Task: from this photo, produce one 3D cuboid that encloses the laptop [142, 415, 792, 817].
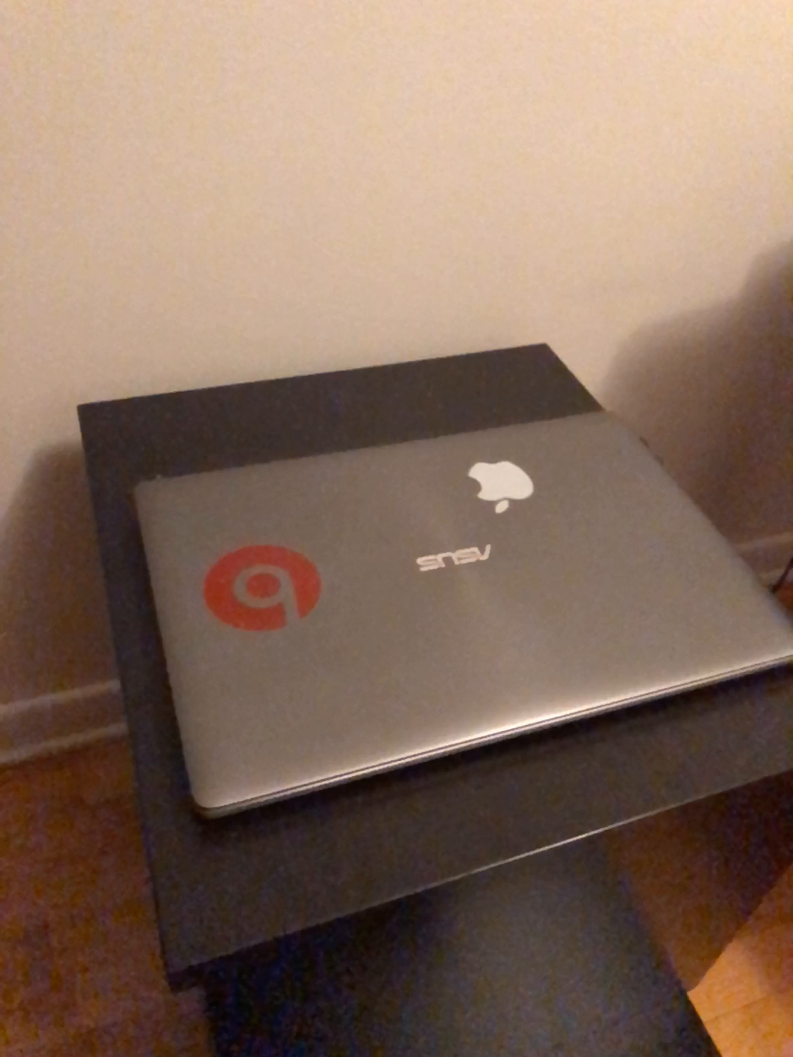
[{"bbox_3d":[0.041,0.028,0.579,0.373,0.010,0.250,-10,46,-16],"label":"laptop"}]
